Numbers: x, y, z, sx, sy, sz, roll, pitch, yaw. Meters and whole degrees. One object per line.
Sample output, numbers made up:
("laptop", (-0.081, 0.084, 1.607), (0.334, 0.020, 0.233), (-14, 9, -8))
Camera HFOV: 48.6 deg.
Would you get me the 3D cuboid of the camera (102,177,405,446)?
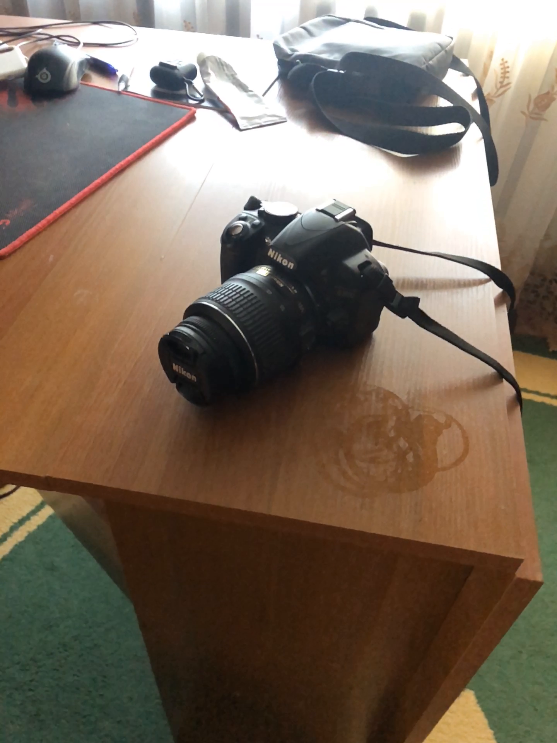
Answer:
("camera", (-0.014, -0.050, 0.421), (0.111, 0.078, 0.162), (36, 53, 28))
